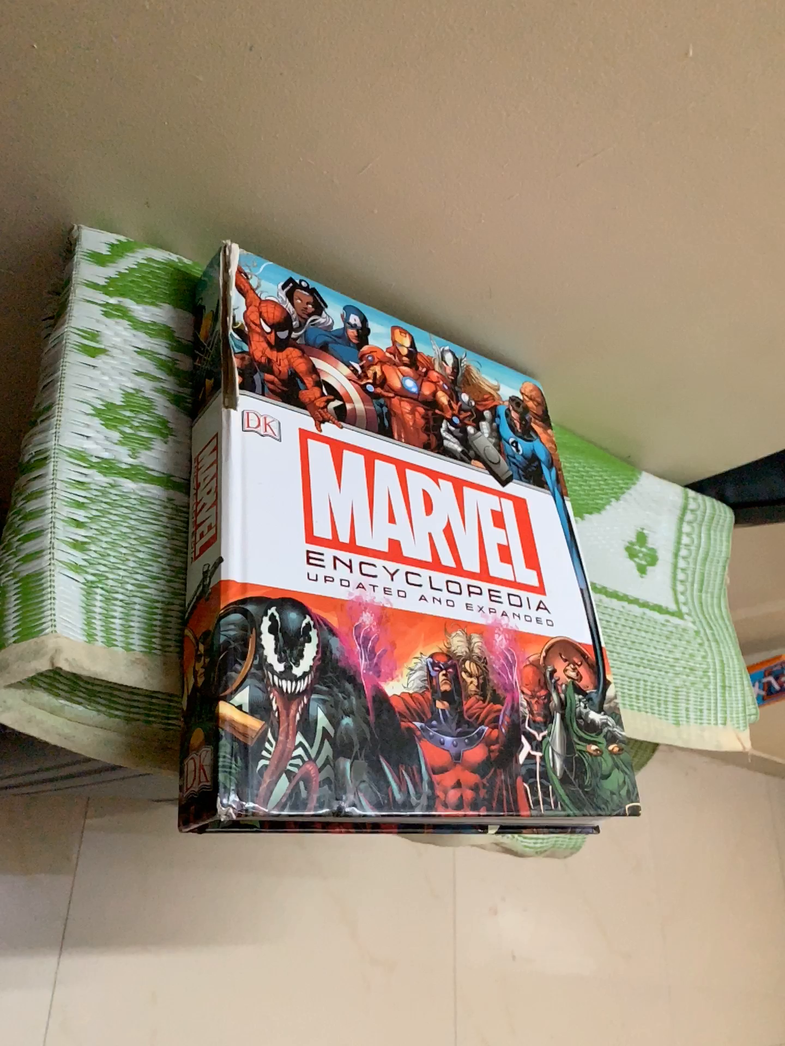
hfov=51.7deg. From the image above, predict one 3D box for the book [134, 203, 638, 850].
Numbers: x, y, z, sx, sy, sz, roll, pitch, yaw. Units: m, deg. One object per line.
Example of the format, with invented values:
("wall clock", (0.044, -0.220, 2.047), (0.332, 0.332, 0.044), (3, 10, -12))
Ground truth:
("book", (0.001, 0.005, 0.449), (0.261, 0.040, 0.321), (15, 56, -34))
